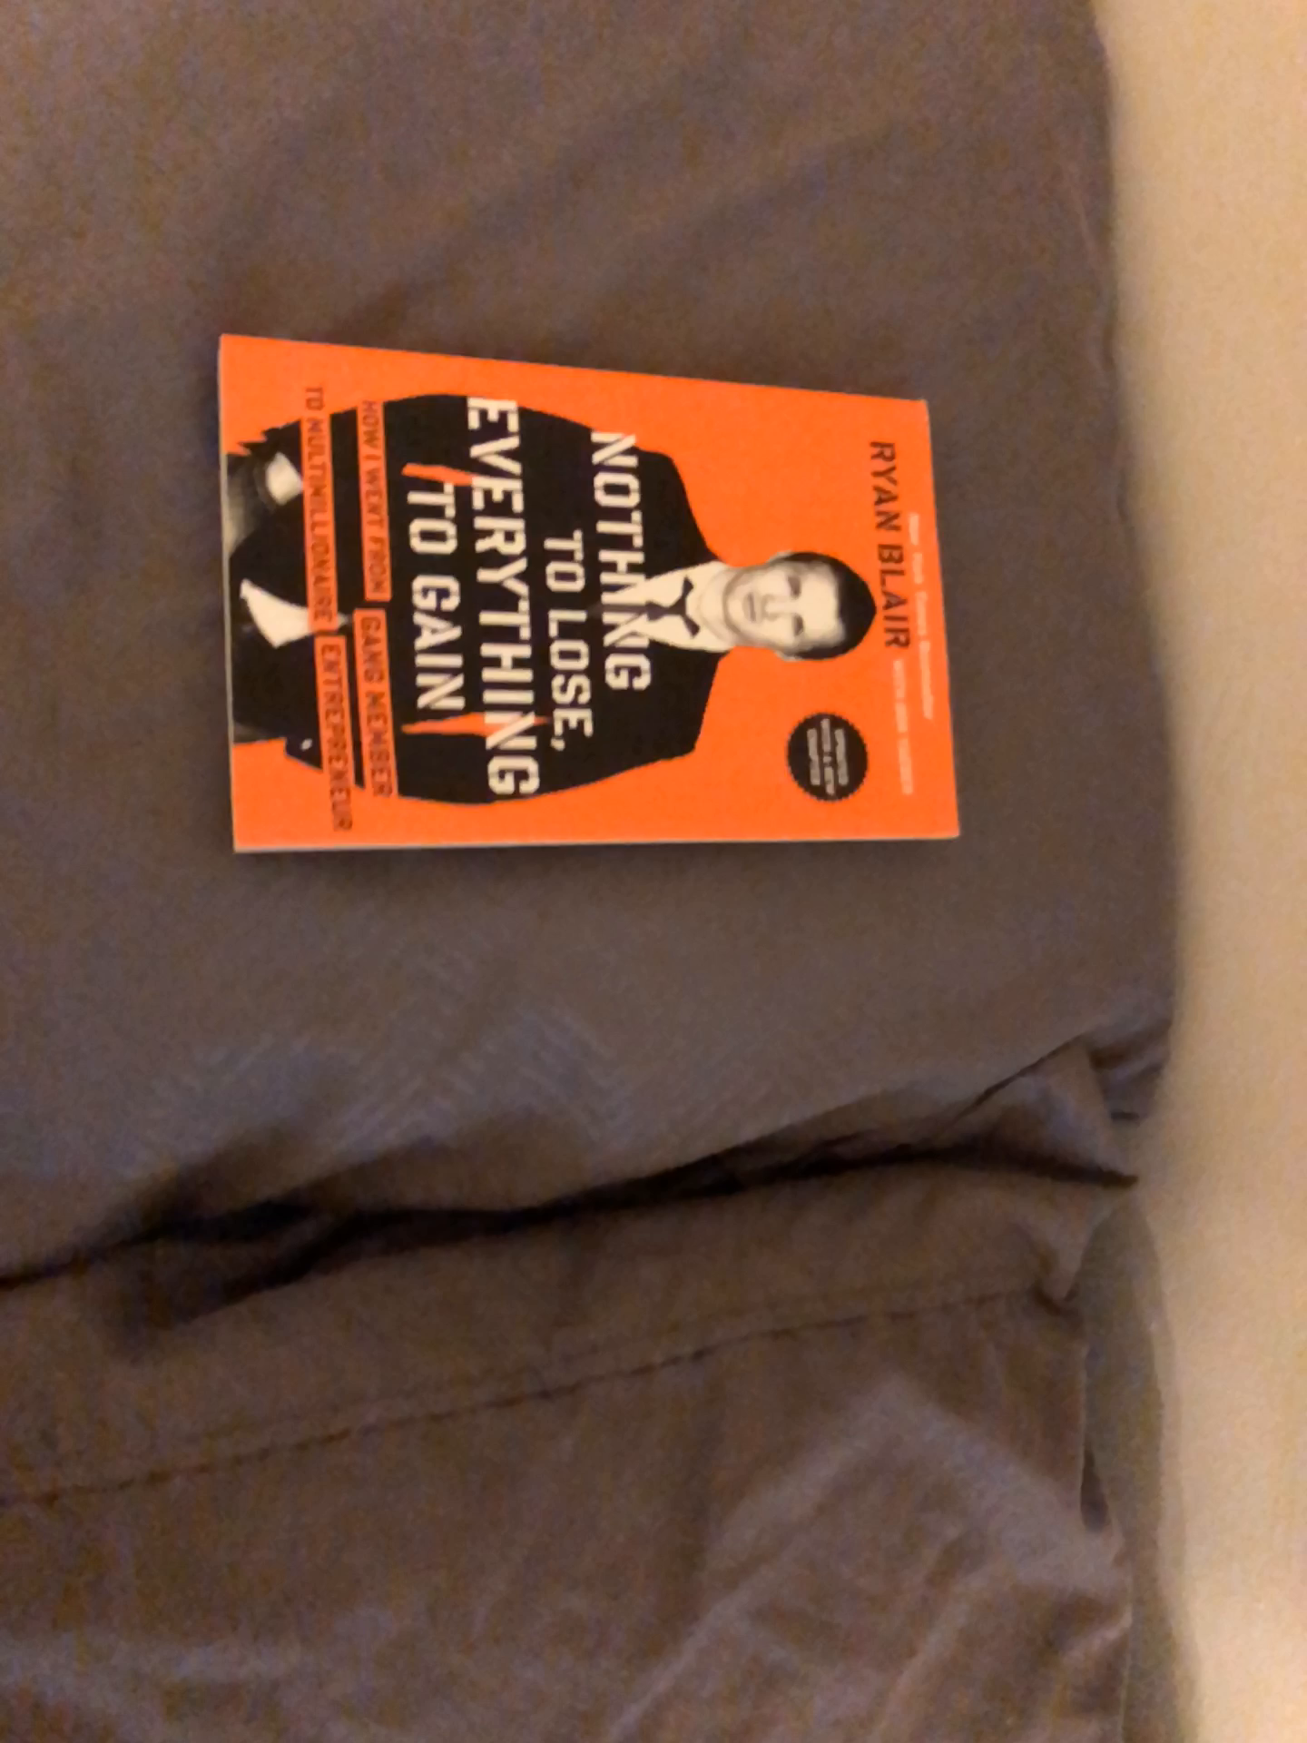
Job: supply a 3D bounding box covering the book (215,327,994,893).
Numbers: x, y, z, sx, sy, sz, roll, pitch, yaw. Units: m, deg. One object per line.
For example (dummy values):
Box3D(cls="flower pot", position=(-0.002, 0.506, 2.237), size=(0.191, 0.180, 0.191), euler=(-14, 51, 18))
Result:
Box3D(cls="book", position=(-0.008, -0.072, 0.431), size=(0.230, 0.020, 0.150), euler=(-1, 87, -20))
